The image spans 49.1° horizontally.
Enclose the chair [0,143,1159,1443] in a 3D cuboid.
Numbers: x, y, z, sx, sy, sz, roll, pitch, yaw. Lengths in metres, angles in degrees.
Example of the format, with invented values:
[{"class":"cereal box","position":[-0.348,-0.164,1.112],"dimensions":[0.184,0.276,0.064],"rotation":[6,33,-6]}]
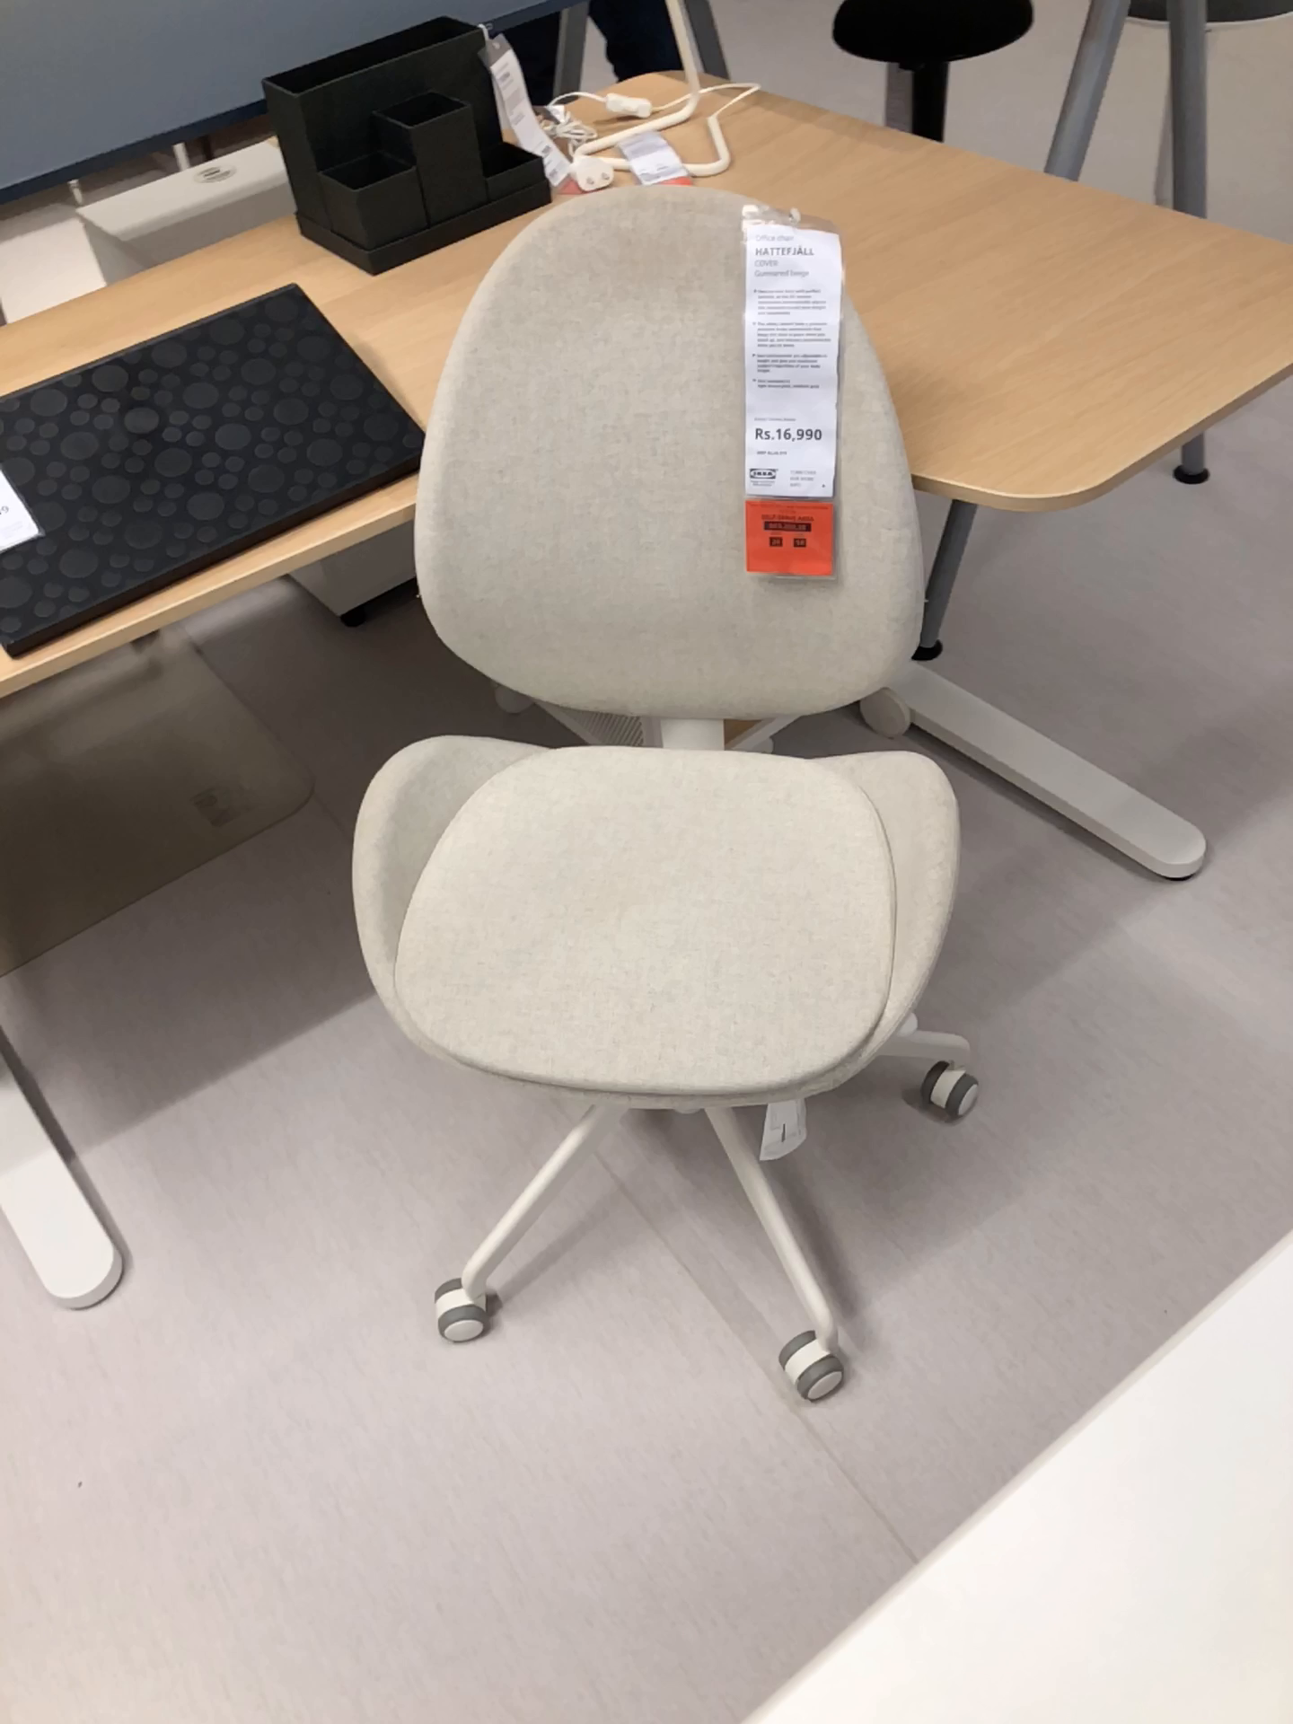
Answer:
[{"class":"chair","position":[0.019,-0.003,1.310],"dimensions":[0.660,0.994,0.624],"rotation":[2,47,10]}]
